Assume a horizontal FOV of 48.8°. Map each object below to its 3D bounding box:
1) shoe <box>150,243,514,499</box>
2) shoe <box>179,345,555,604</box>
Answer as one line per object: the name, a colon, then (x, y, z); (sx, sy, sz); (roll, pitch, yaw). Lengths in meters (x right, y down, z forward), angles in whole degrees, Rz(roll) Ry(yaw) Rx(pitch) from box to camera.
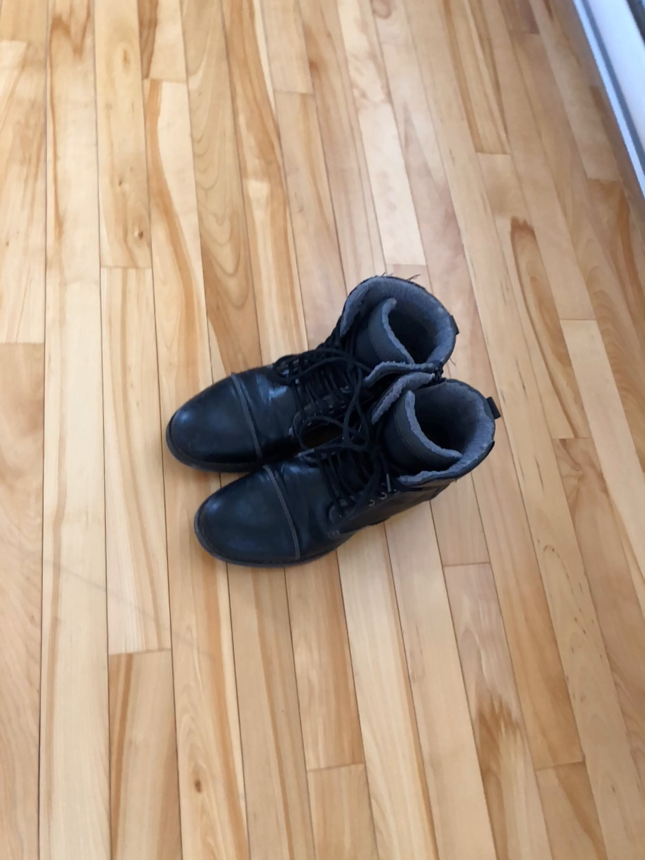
shoe: (-0.006, -0.053, 0.690); (0.290, 0.199, 0.120); (-13, 71, -20)
shoe: (0.029, 0.047, 0.696); (0.301, 0.199, 0.120); (-15, 72, -20)
